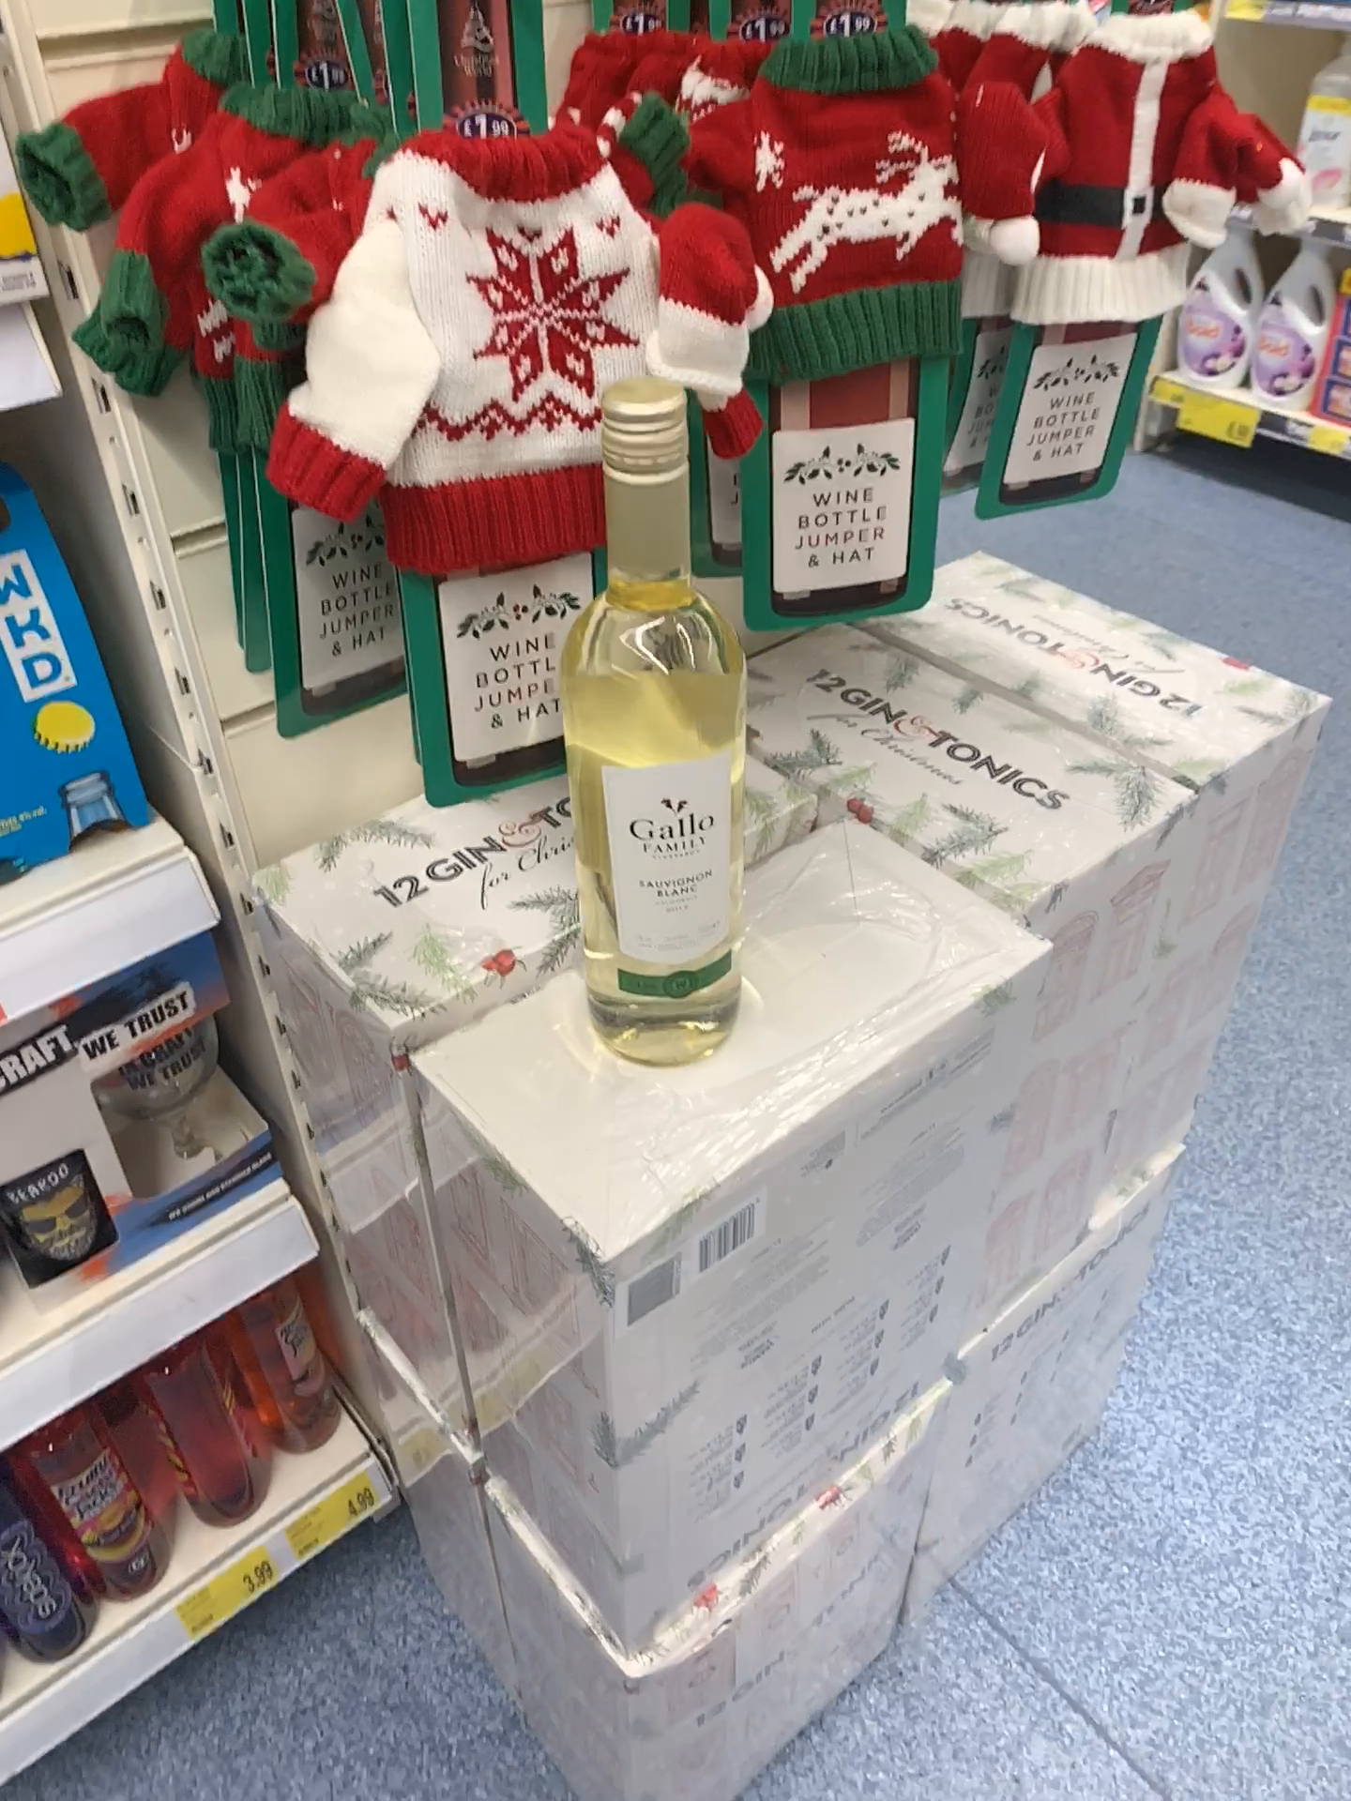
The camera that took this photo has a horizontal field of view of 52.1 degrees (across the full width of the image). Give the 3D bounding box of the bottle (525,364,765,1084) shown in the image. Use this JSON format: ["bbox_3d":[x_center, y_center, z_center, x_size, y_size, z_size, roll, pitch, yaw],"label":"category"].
[{"bbox_3d":[-0.008,-0.056,0.558,0.072,0.285,0.074,-1,39,1],"label":"bottle"}]
